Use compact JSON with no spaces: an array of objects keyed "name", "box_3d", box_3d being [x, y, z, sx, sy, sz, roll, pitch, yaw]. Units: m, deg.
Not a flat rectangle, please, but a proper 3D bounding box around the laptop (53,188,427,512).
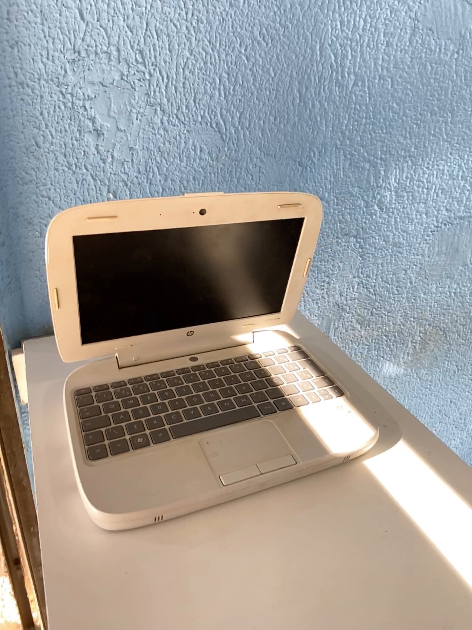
[{"name":"laptop","box_3d":[-0.011,0.007,0.431,0.248,0.172,0.178,-10,31,-22]}]
